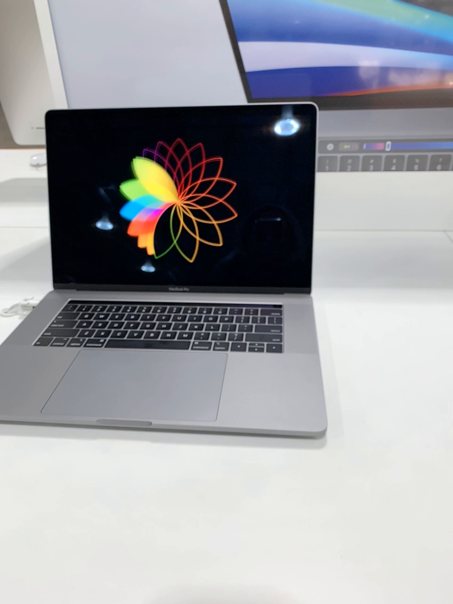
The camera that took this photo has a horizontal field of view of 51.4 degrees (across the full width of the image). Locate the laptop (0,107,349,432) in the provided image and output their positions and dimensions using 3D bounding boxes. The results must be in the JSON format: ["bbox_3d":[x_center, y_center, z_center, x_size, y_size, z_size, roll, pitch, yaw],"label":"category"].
[{"bbox_3d":[-0.074,-0.065,0.473,0.330,0.205,0.304,1,29,5],"label":"laptop"}]
